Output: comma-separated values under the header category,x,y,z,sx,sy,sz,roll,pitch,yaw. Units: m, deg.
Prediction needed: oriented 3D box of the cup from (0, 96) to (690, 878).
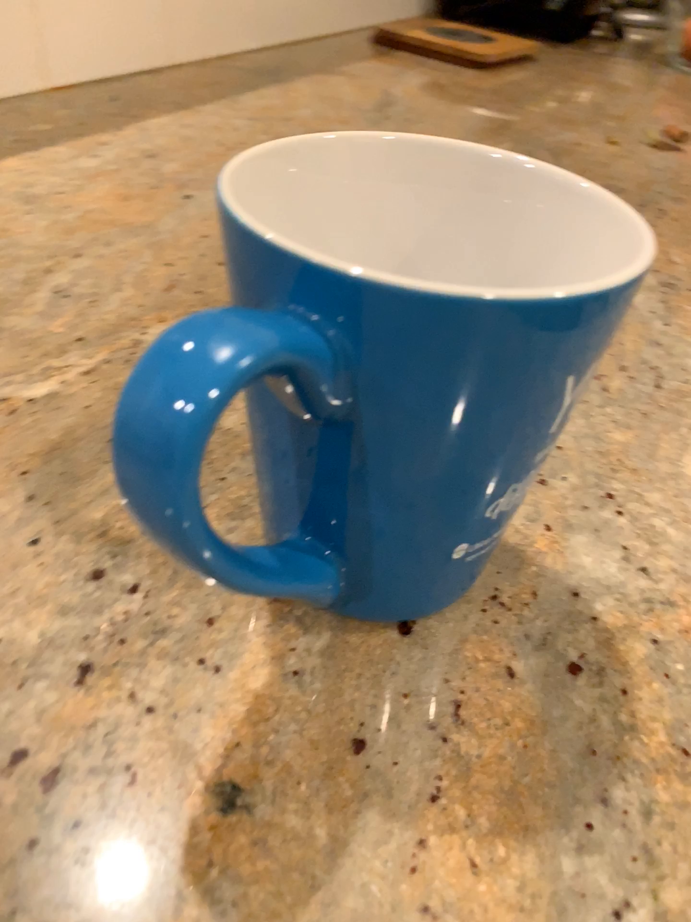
category,x,y,z,sx,sy,sz,roll,pitch,yaw
cup,0.007,-0.011,0.172,0.099,0.098,0.139,20,42,15
